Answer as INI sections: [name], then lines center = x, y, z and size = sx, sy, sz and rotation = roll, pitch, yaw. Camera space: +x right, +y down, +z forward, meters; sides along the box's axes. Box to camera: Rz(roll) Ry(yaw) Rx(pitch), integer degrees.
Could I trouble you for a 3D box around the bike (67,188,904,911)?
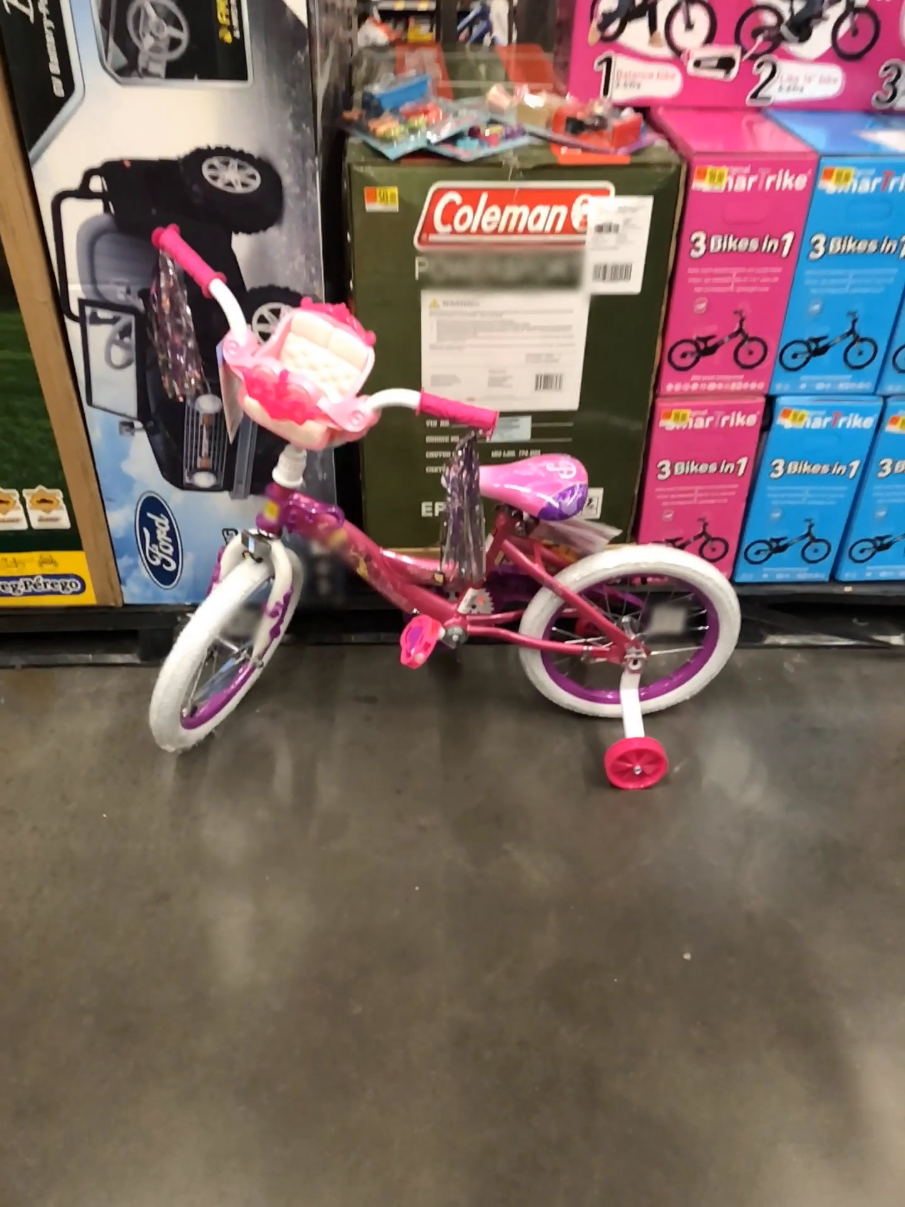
[bike]
center = 0.014, -0.091, 1.502
size = 0.948, 0.854, 0.479
rotation = -8, 37, -11
